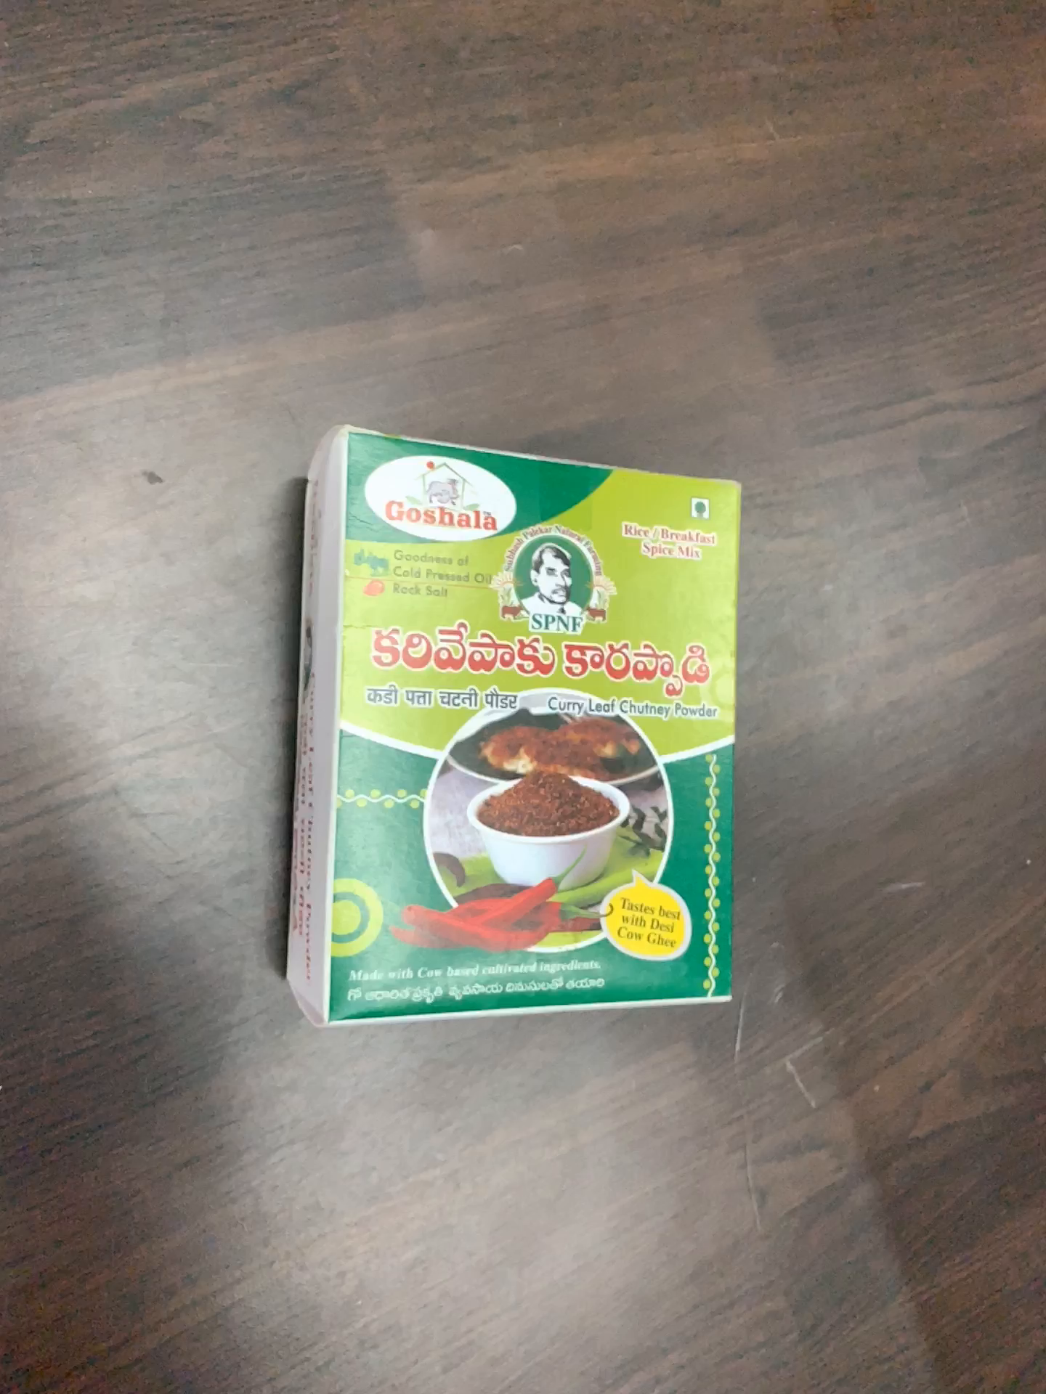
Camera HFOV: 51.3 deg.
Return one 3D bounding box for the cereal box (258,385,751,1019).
[{"bbox_3d":[-0.004,0.002,0.242,0.100,0.040,0.120,2,86,-20],"label":"cereal box"}]
